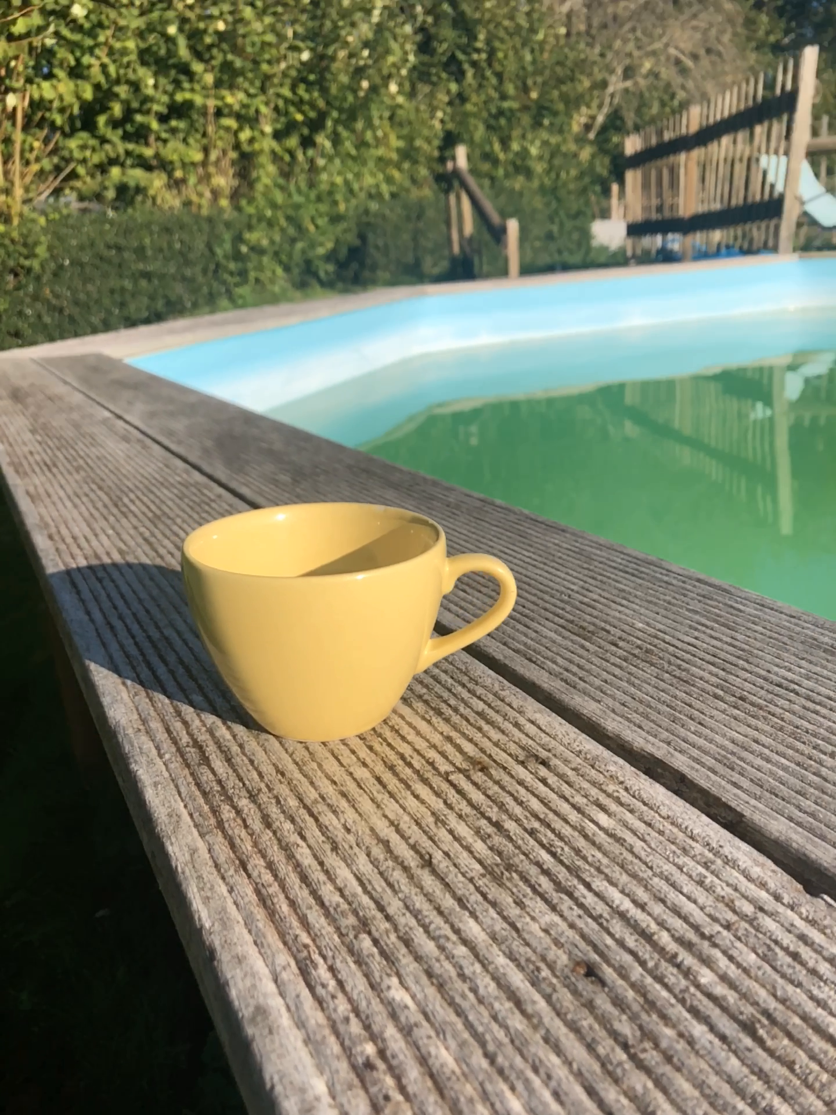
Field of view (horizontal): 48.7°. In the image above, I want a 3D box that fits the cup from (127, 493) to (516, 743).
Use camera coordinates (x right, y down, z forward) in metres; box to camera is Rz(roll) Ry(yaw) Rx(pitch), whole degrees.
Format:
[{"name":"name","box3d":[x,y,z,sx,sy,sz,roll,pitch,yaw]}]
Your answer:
[{"name":"cup","box3d":[-0.026,0.016,0.314,0.112,0.053,0.089,-1,18,2]}]
